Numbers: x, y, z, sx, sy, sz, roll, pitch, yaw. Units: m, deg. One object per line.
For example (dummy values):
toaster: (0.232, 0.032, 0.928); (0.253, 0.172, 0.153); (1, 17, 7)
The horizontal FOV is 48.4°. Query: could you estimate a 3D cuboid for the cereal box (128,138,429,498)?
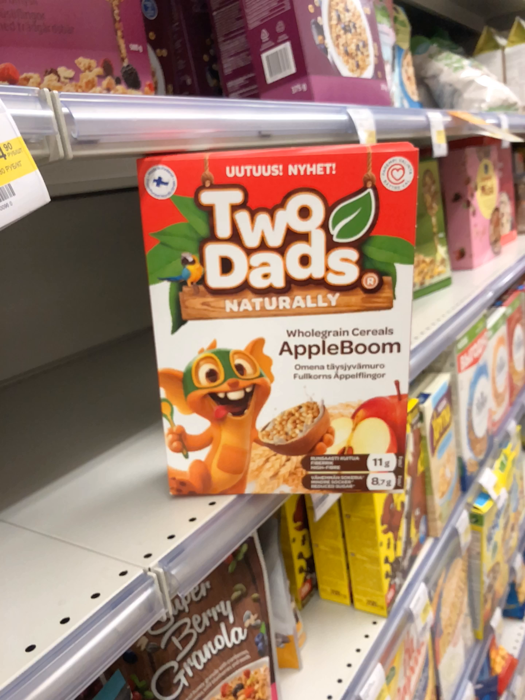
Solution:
cereal box: (0.015, -0.022, 0.467); (0.200, 0.269, 0.080); (-1, 18, 3)
